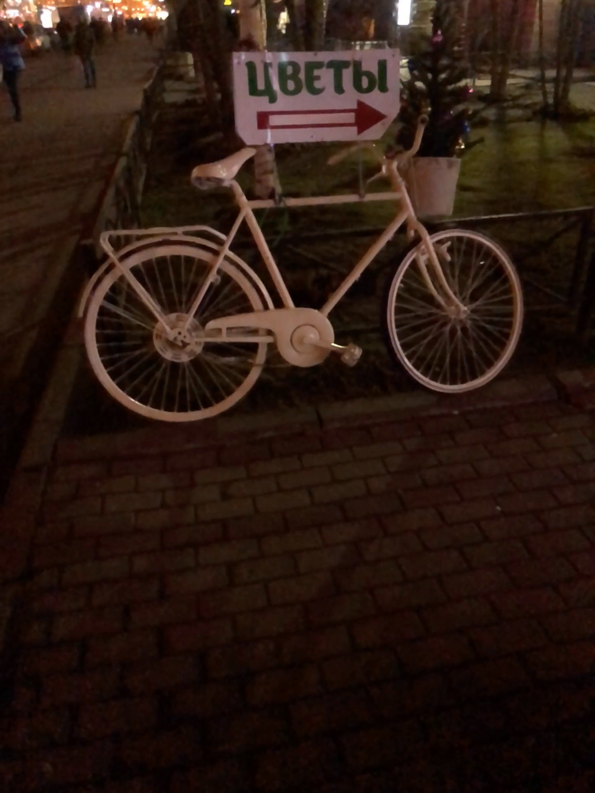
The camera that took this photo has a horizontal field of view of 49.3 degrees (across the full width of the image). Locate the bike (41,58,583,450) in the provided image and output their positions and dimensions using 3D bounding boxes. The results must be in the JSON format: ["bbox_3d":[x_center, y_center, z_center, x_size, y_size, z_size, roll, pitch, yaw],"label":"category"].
[{"bbox_3d":[0.048,-0.618,2.638,1.828,1.118,0.609,-11,31,-10],"label":"bike"}]
